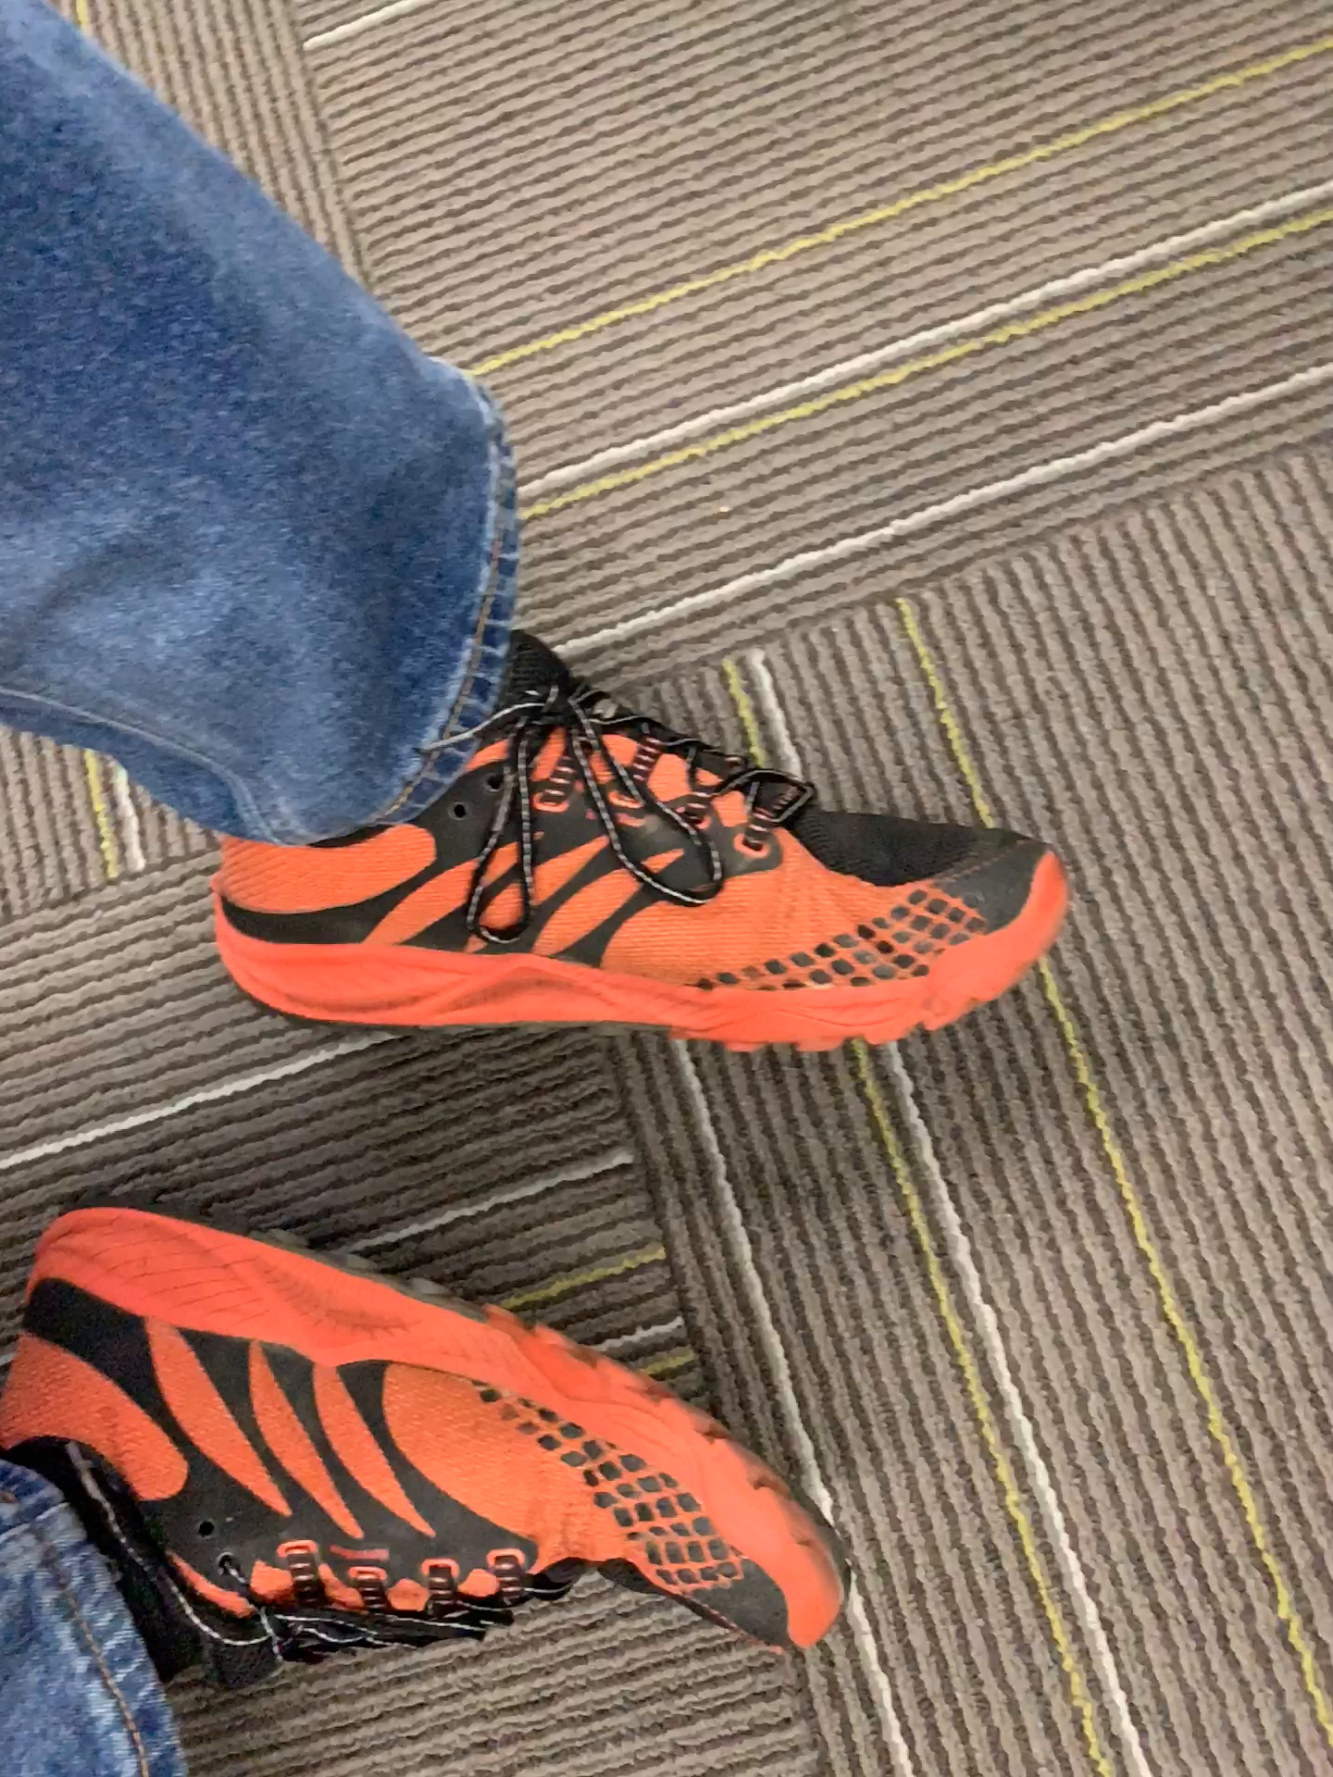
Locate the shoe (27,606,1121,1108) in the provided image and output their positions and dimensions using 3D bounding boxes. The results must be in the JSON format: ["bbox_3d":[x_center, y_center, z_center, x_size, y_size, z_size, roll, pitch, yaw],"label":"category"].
[{"bbox_3d":[-0.022,-0.018,0.456,0.308,0.128,0.108,1,121,10],"label":"shoe"}]

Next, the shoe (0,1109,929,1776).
[{"bbox_3d":[-0.089,0.177,0.439,0.318,0.138,0.108,10,64,12],"label":"shoe"}]
